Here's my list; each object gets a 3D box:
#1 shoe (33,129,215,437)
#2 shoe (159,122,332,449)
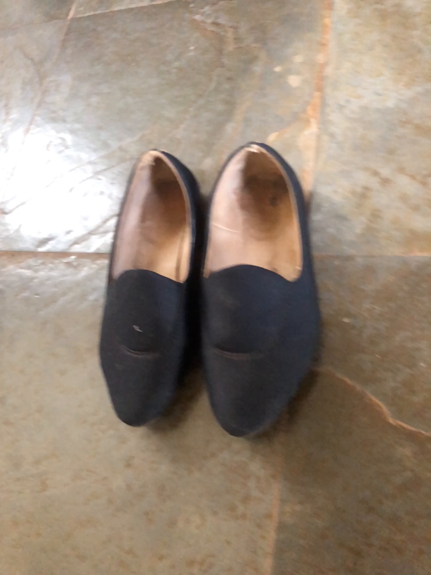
[{"bbox_3d":[-0.072,-0.007,0.449,0.110,0.080,0.271,-4,66,17],"label":"shoe"},{"bbox_3d":[0.039,-0.007,0.426,0.110,0.080,0.271,0,67,19],"label":"shoe"}]
